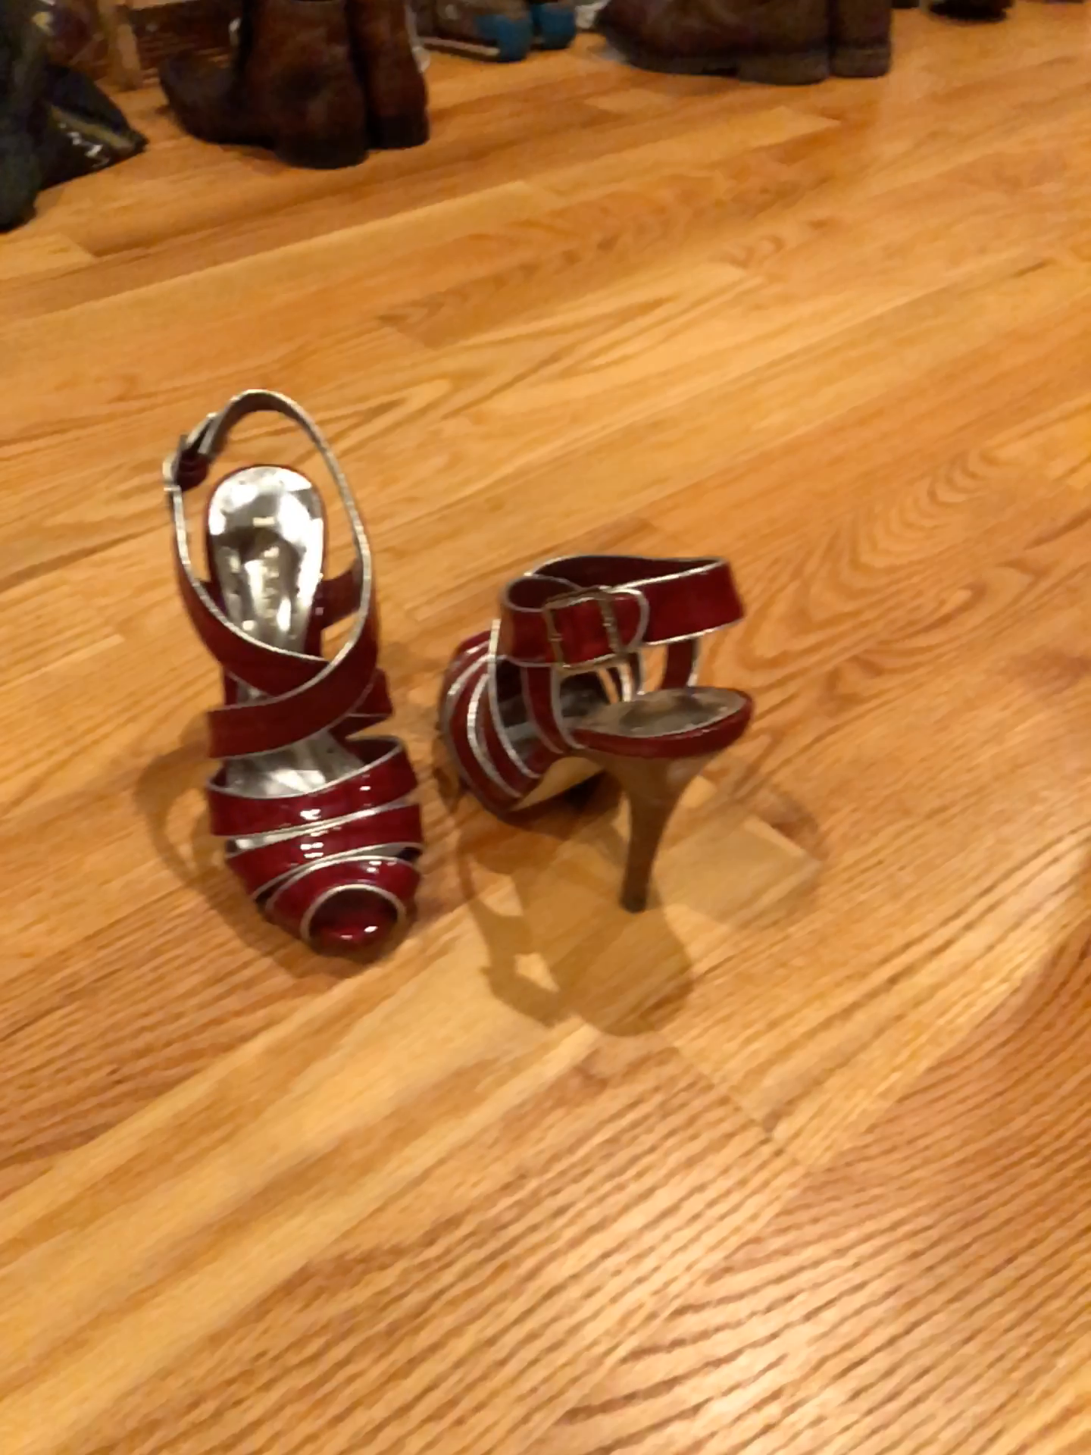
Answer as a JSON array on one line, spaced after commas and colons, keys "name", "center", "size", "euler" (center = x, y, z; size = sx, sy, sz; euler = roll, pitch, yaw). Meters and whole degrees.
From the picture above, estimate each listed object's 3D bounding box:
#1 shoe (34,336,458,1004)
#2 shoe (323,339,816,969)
[{"name": "shoe", "center": [-0.115, -0.031, 0.461], "size": [0.092, 0.151, 0.199], "euler": [-16, 43, -17]}, {"name": "shoe", "center": [-0.001, -0.038, 0.467], "size": [0.092, 0.141, 0.194], "euler": [-19, 44, -20]}]
